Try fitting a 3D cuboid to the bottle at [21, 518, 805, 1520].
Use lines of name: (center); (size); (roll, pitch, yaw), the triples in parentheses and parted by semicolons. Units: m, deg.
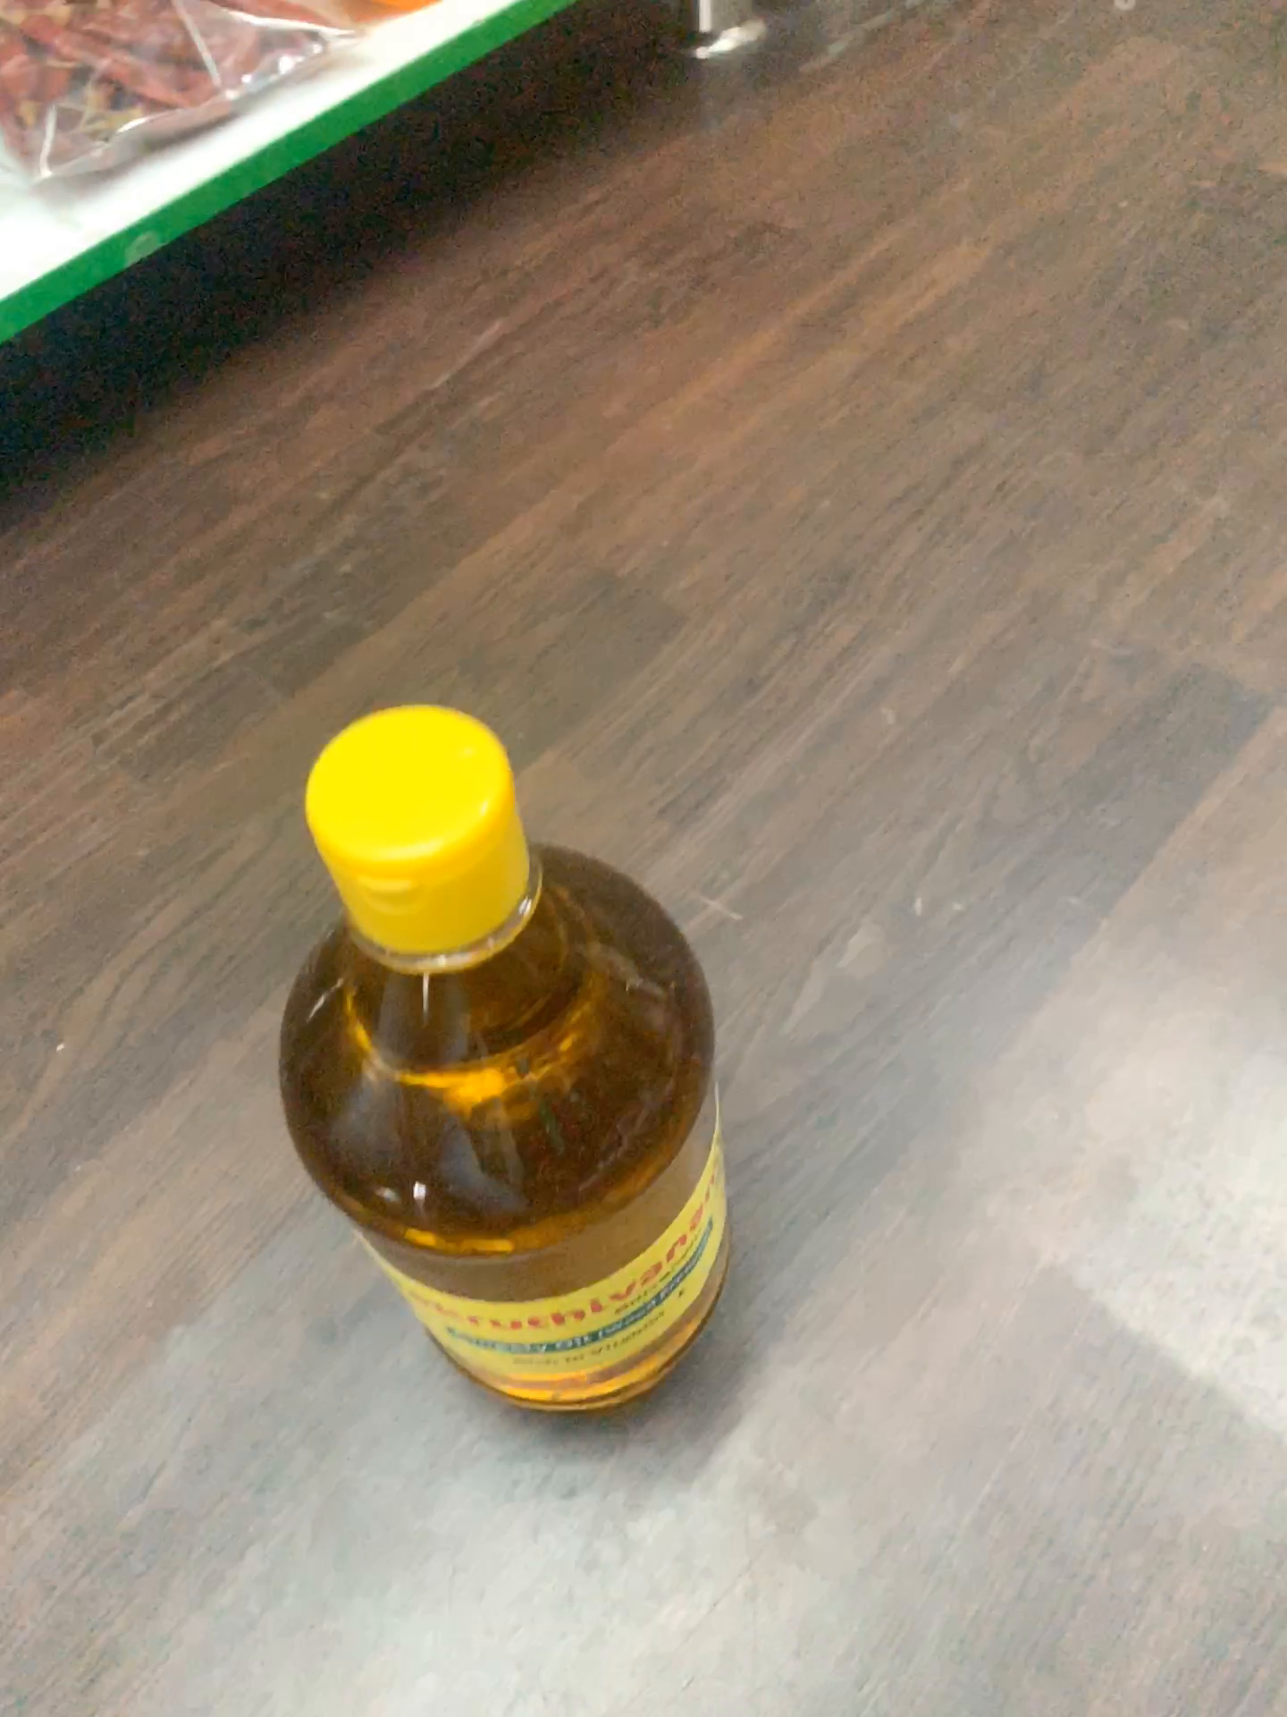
bottle: (-0.029, 0.055, 0.281); (0.090, 0.219, 0.090); (-3, 55, 4)
